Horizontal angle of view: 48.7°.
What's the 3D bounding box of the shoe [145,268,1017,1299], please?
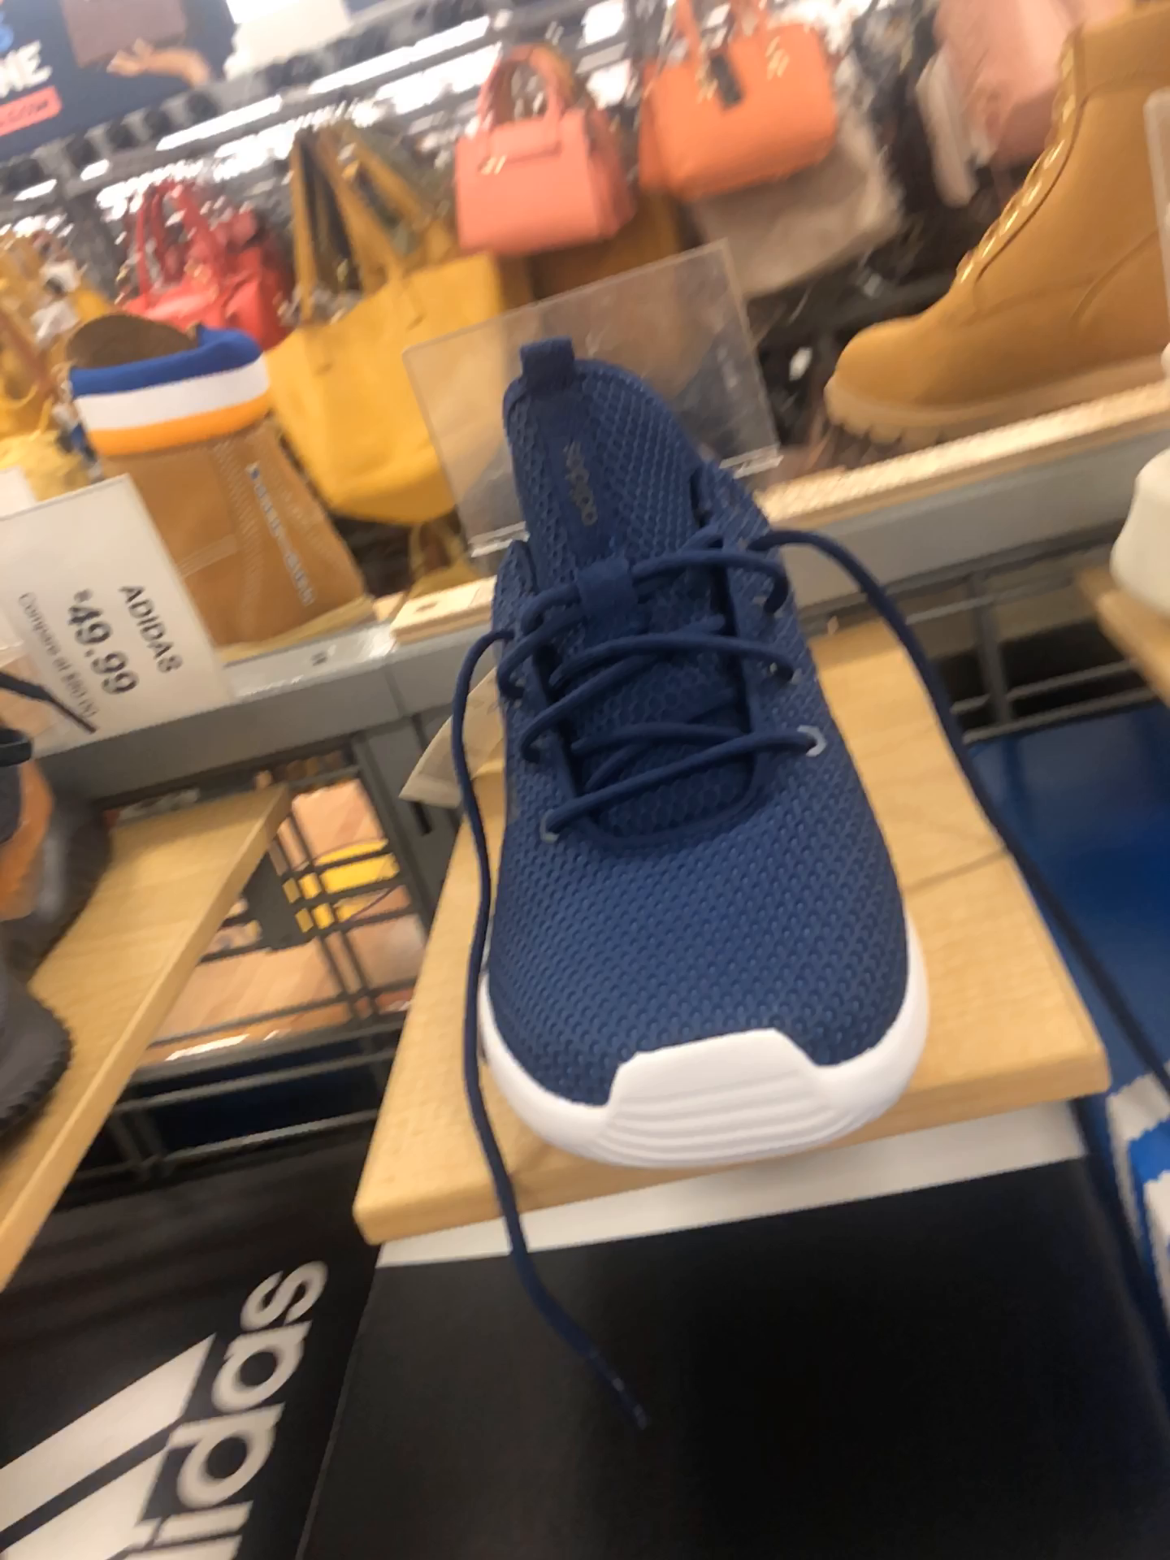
[{"bbox_3d":[0.016,-0.038,0.359,0.112,0.145,0.305,-14,24,11],"label":"shoe"}]
